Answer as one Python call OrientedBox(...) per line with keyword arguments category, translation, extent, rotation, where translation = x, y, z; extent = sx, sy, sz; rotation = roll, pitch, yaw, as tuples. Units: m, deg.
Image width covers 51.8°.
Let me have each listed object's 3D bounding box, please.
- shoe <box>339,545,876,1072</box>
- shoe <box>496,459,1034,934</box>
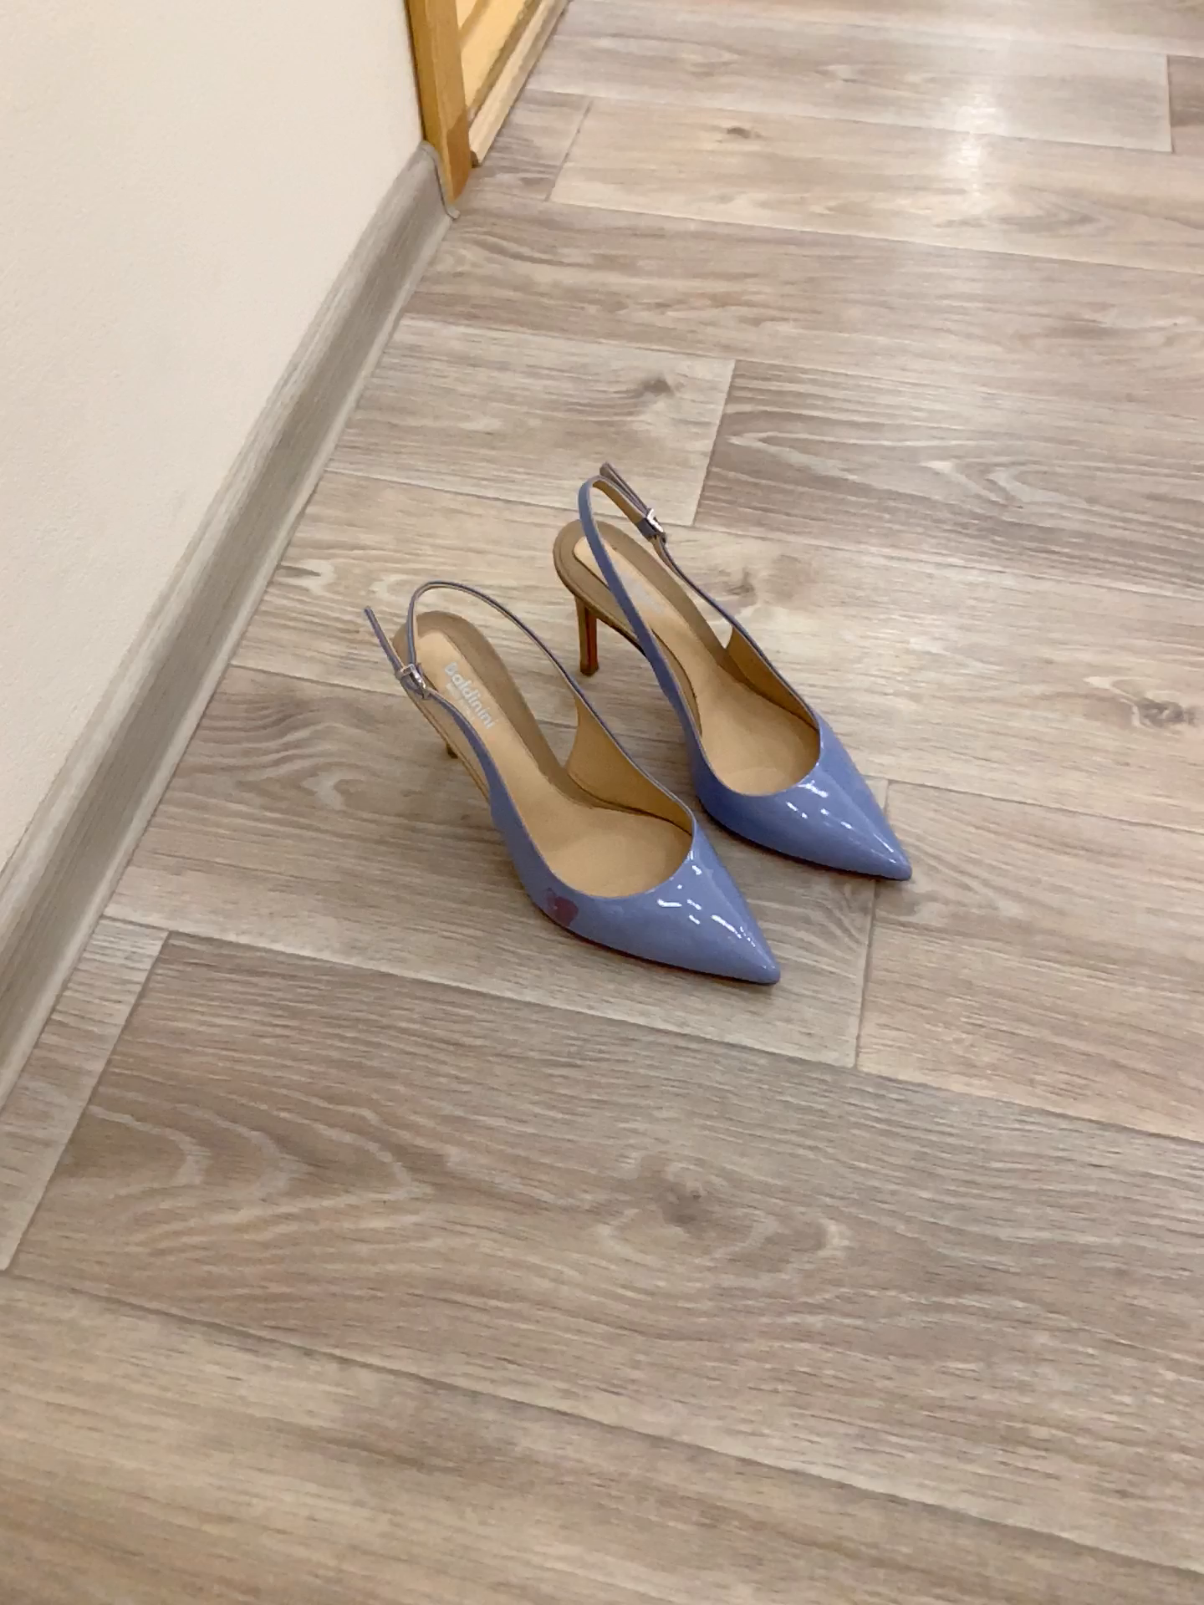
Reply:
OrientedBox(category="shoe", translation=(-0.003, -0.002, 0.566), extent=(0.231, 0.100, 0.089), rotation=(38, 64, 24))
OrientedBox(category="shoe", translation=(0.069, -0.055, 0.597), extent=(0.230, 0.100, 0.089), rotation=(33, 62, 22))
